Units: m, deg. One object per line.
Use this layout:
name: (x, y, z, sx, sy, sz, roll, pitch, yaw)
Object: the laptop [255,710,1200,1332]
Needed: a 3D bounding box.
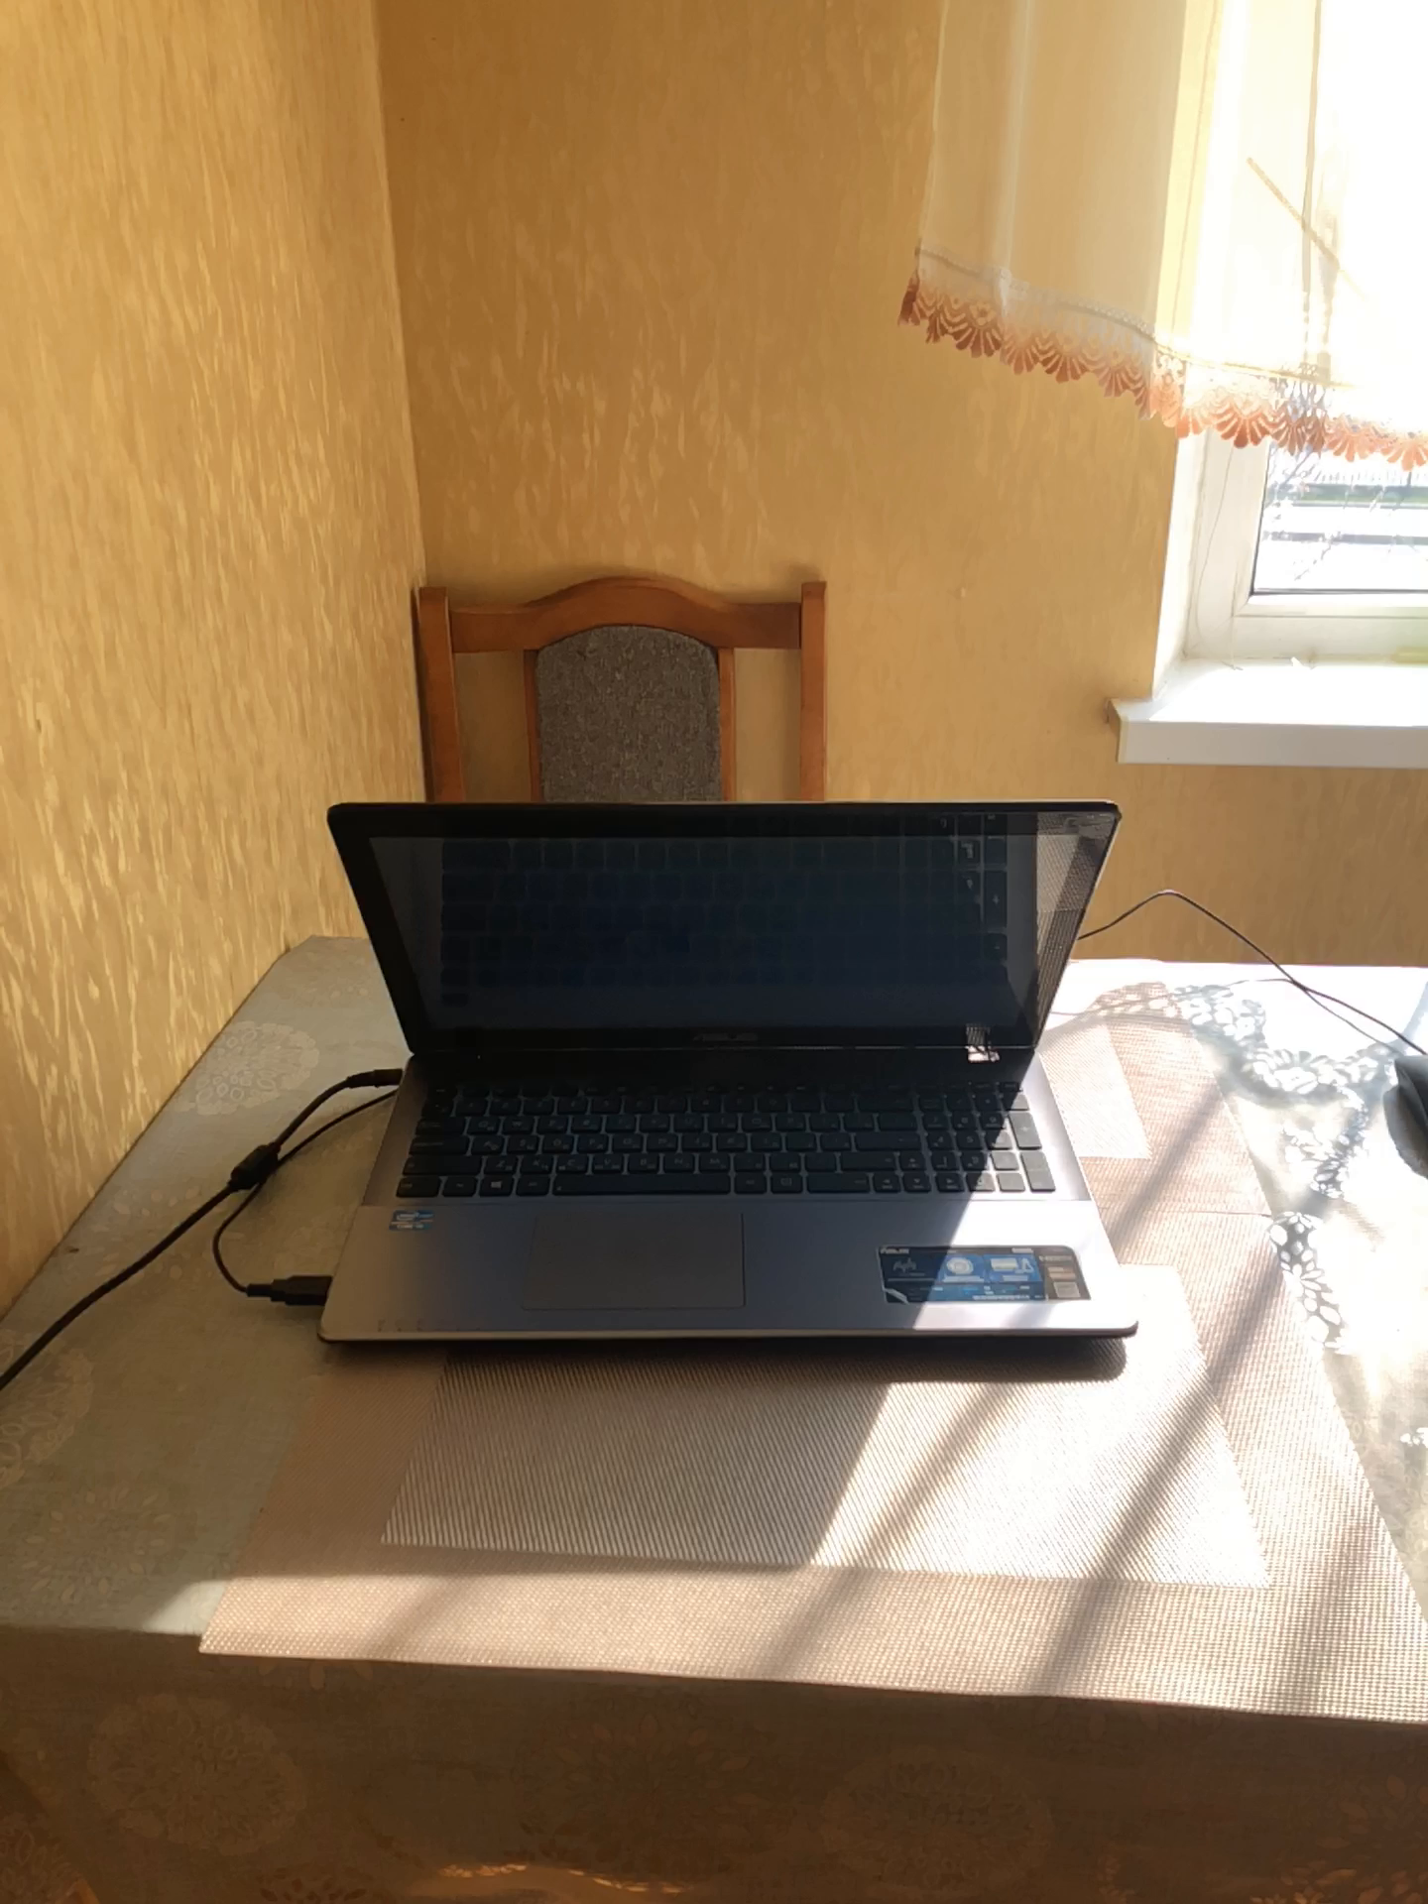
laptop: (0.005, 0.020, 0.750, 0.362, 0.200, 0.245, -1, 25, 0)
